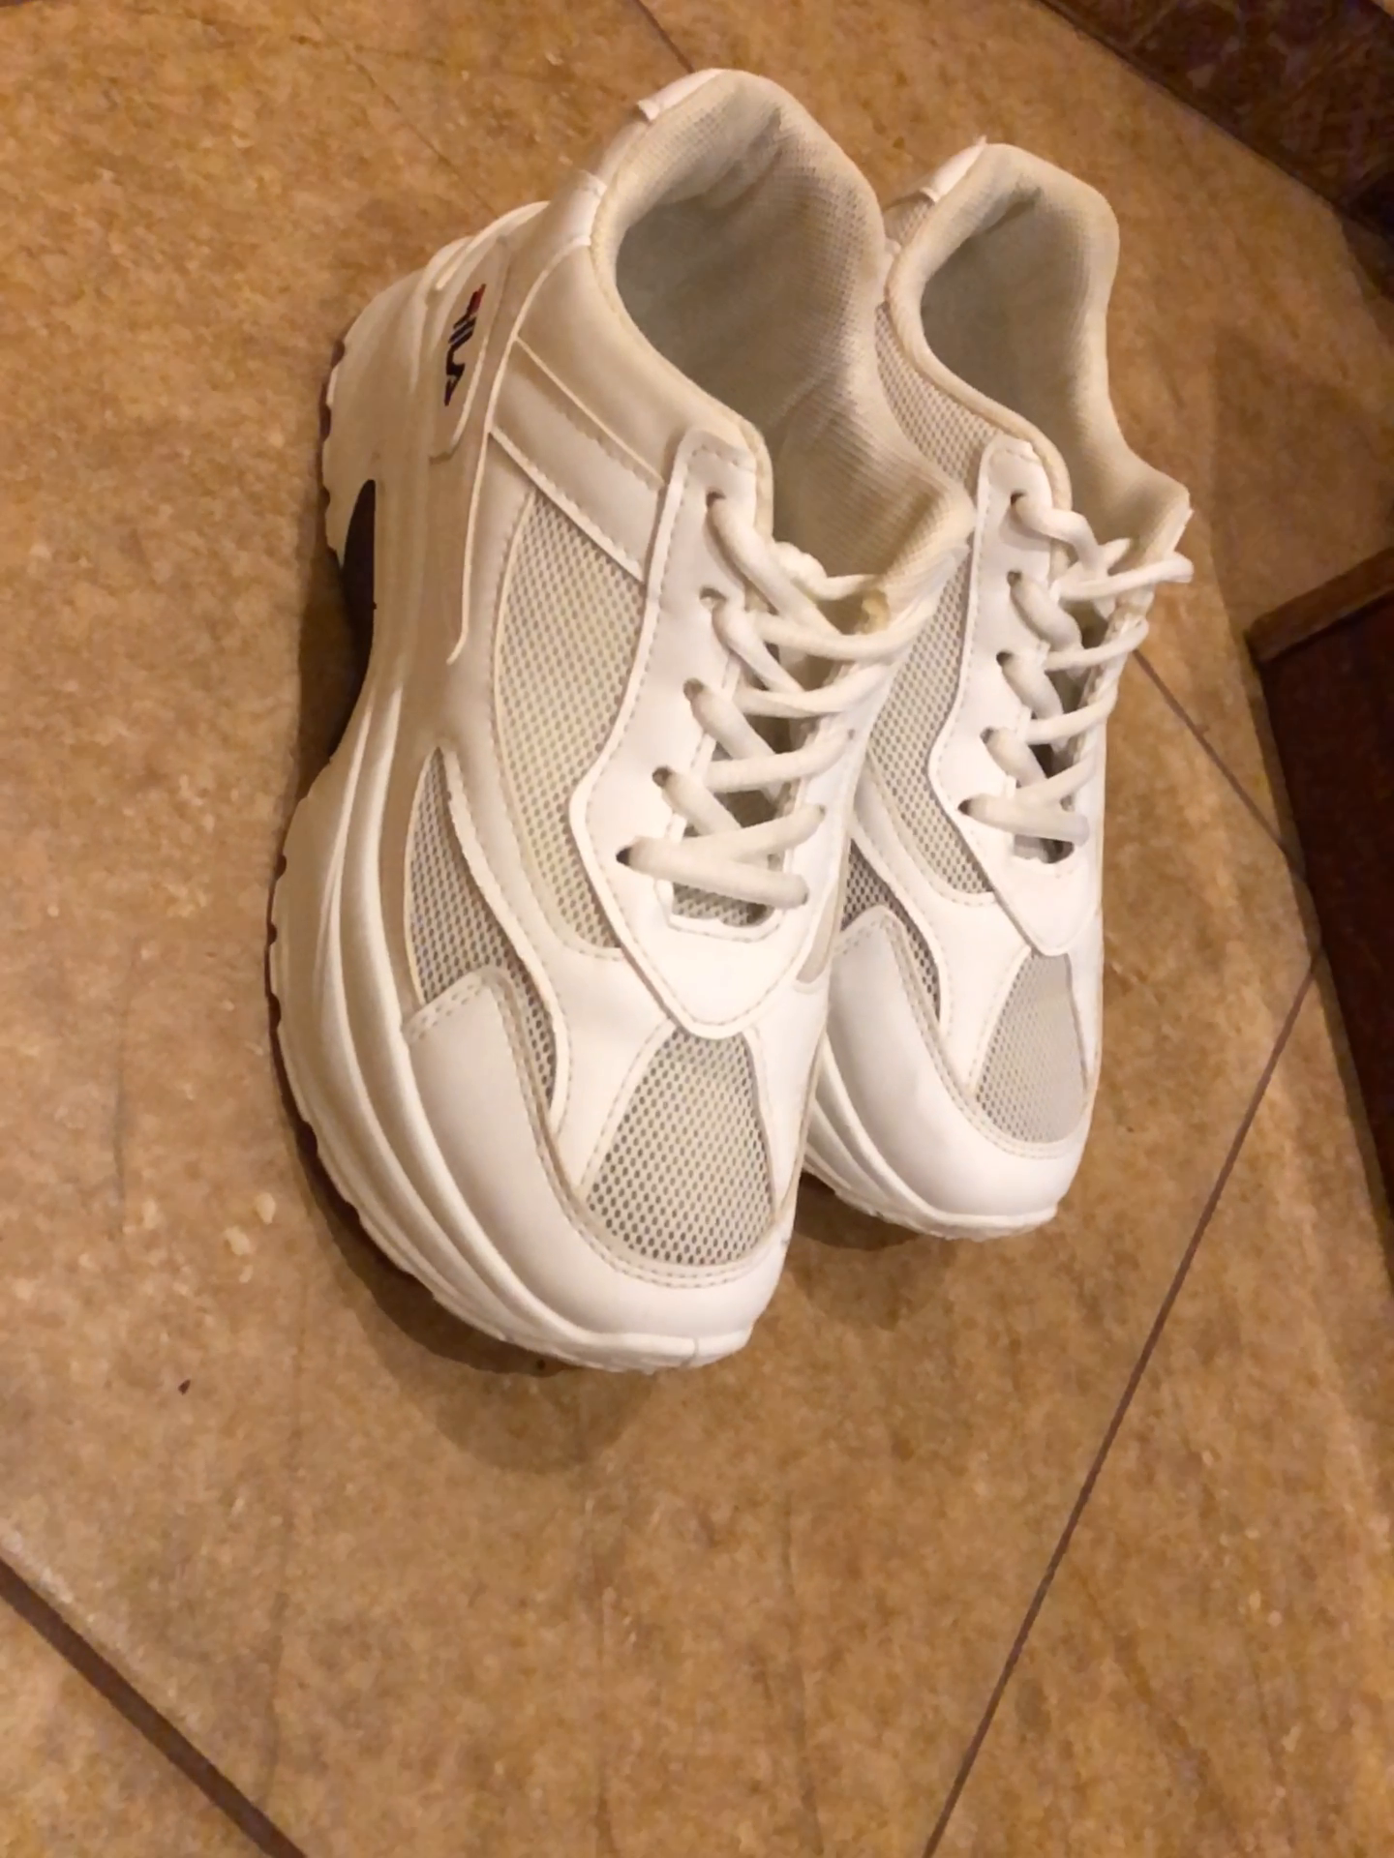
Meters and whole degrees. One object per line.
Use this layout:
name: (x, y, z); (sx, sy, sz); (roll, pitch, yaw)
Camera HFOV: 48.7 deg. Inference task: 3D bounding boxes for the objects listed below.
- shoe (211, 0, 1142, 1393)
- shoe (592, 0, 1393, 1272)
shoe: (-0.017, -0.045, 0.294); (0.110, 0.109, 0.240); (9, 65, -34)
shoe: (0.063, -0.058, 0.357); (0.110, 0.109, 0.250); (7, 66, -35)
